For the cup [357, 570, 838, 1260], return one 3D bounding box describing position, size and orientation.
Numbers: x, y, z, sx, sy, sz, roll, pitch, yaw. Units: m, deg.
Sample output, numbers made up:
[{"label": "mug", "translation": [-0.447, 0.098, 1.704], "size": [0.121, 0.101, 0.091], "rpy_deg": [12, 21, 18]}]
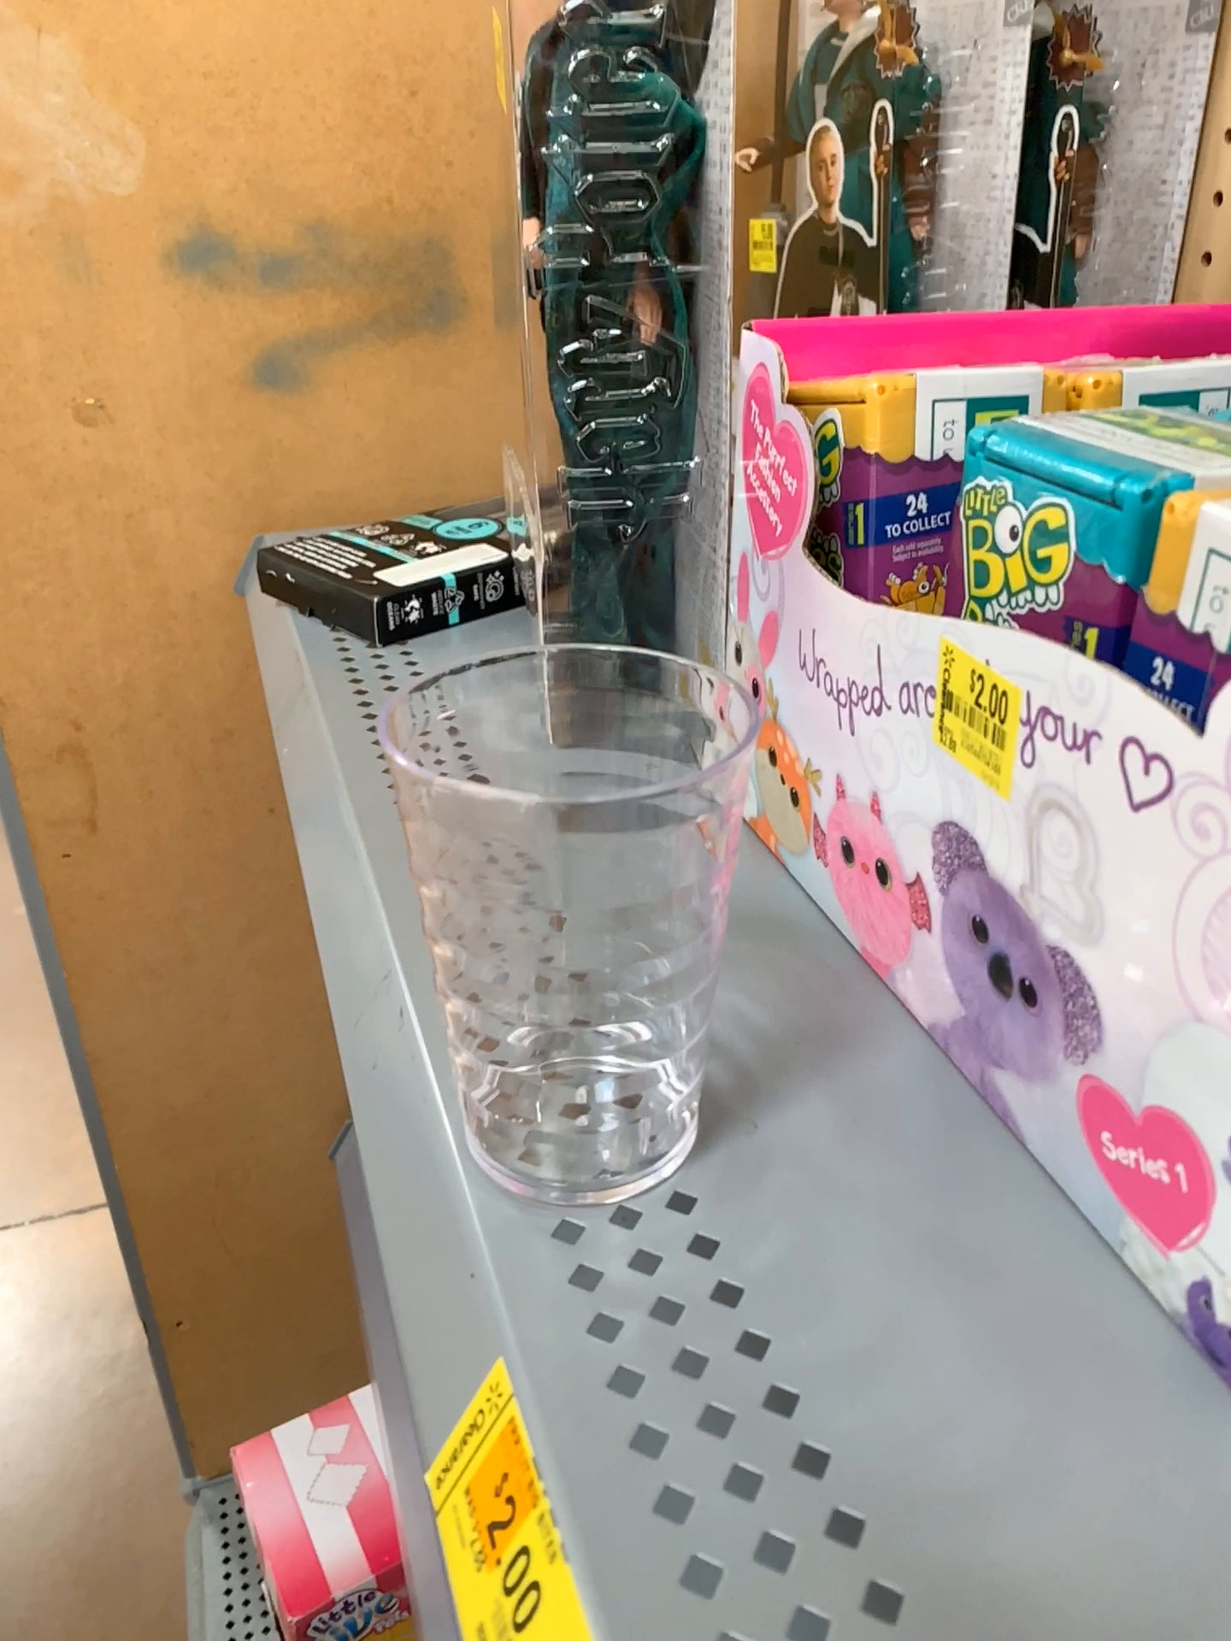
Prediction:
[{"label": "cup", "translation": [-0.007, 0.015, 0.264], "size": [0.070, 0.107, 0.079], "rpy_deg": [-10, 30, -16]}]
